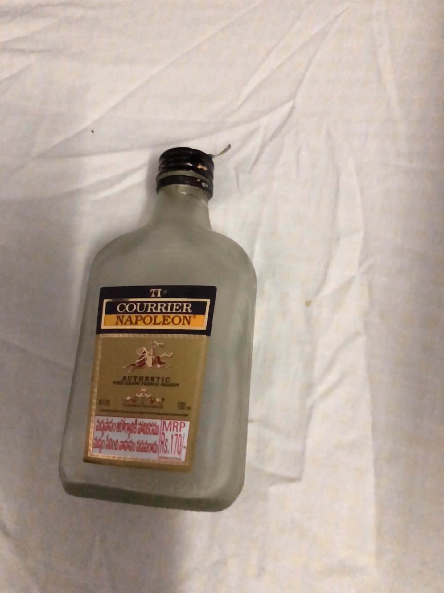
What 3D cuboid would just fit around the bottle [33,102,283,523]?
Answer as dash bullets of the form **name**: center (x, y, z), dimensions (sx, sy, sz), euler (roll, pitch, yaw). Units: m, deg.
- **bottle**: center (-0.019, 0.002, 0.212), dimensions (0.080, 0.040, 0.160), euler (1, 75, 13)
